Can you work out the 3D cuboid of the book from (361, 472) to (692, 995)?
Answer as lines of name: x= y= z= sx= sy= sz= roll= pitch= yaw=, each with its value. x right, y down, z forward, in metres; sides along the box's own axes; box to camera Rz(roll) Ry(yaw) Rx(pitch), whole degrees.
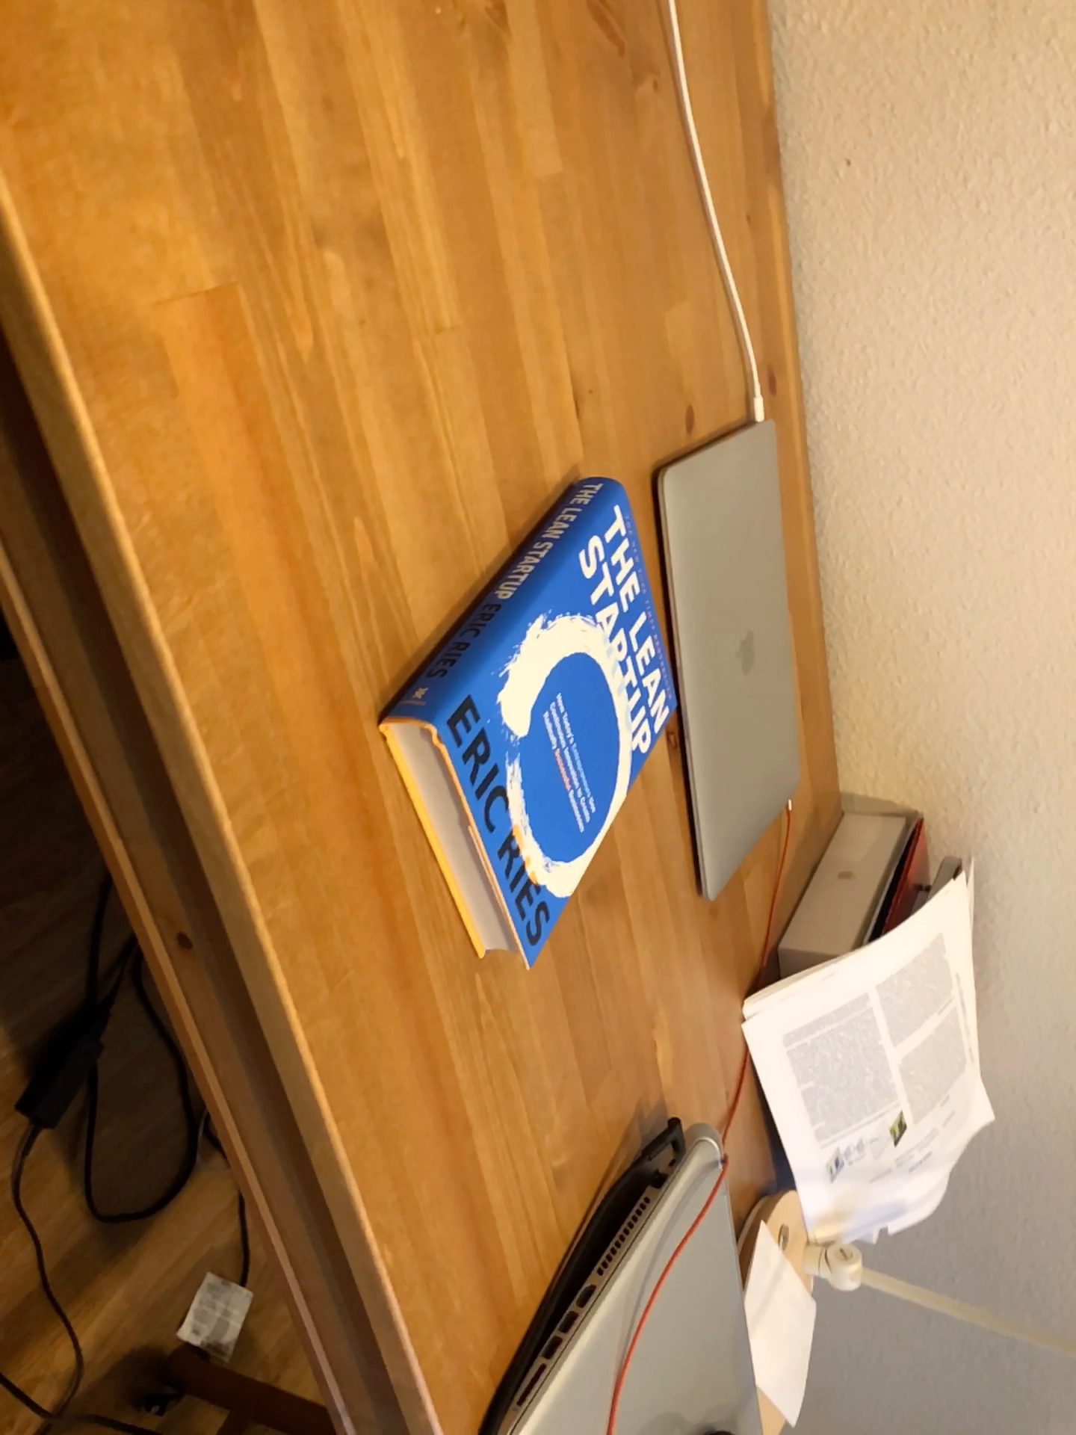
book: x=0.009 y=0.000 z=0.590 sx=0.210 sy=0.040 sz=0.161 roll=-56 pitch=139 yaw=-44
